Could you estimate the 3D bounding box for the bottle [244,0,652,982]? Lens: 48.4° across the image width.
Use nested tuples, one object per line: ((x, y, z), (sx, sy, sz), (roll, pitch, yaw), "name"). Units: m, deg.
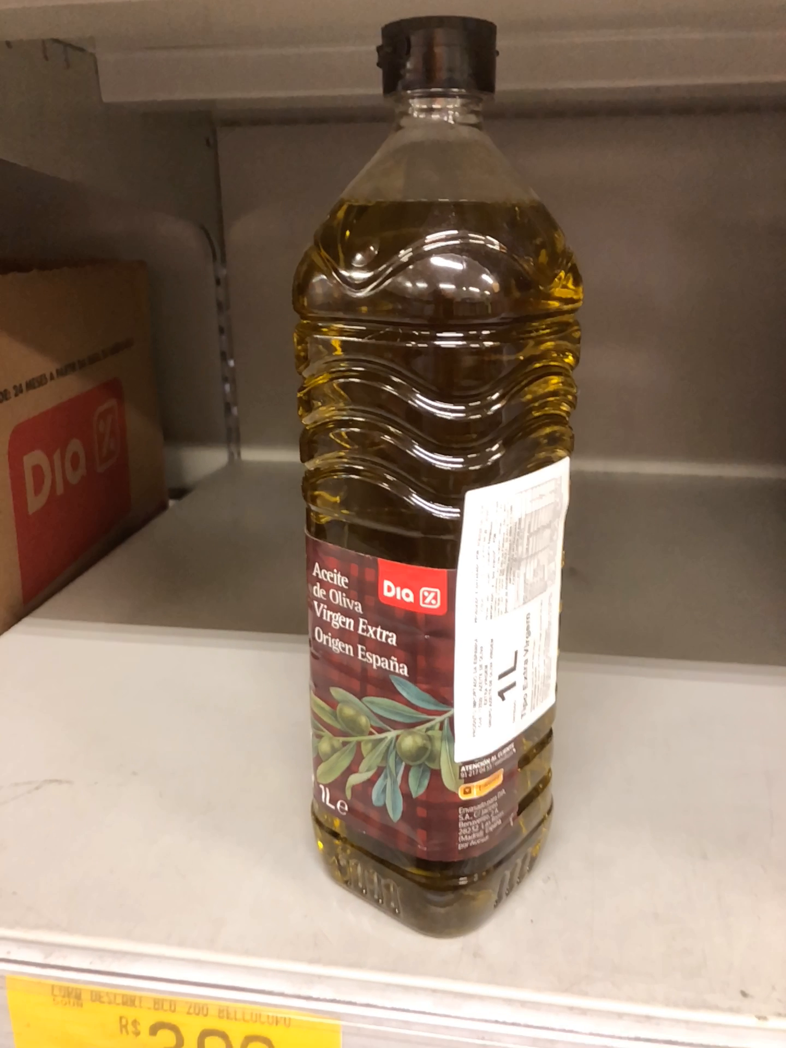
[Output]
((0.014, -0.008, 0.273), (0.080, 0.278, 0.070), (14, 24, 34), "bottle")
